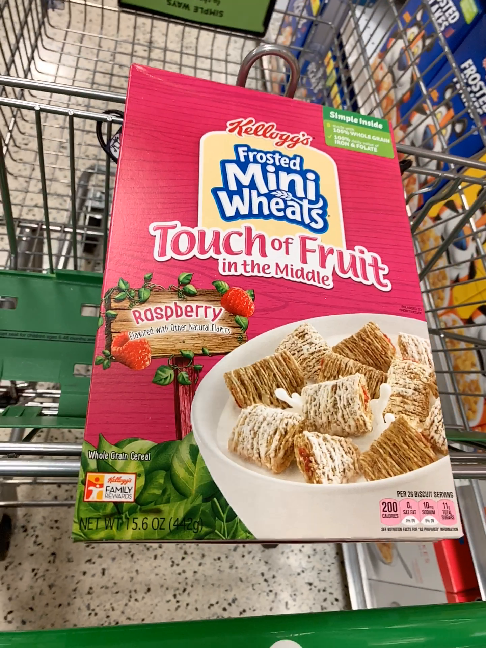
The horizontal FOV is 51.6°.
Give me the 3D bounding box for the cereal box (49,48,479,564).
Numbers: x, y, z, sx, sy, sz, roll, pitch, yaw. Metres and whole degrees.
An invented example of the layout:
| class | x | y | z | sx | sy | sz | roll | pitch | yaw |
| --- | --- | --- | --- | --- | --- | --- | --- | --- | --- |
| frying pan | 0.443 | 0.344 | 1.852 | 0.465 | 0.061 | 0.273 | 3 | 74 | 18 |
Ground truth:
| class | x | y | z | sx | sy | sz | roll | pitch | yaw |
| --- | --- | --- | --- | --- | --- | --- | --- | --- | --- |
| cereal box | 0.012 | -0.020 | 0.303 | 0.200 | 0.050 | 0.291 | 6 | 65 | -15 |
